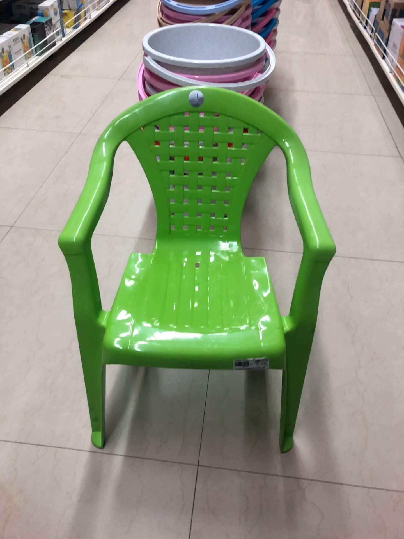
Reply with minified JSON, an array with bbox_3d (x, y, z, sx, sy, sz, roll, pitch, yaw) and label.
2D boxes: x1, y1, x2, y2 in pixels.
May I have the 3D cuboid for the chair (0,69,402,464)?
[{"bbox_3d":[-0.003,0.020,0.683,0.360,0.517,0.312,2,42,1],"label":"chair"}]
